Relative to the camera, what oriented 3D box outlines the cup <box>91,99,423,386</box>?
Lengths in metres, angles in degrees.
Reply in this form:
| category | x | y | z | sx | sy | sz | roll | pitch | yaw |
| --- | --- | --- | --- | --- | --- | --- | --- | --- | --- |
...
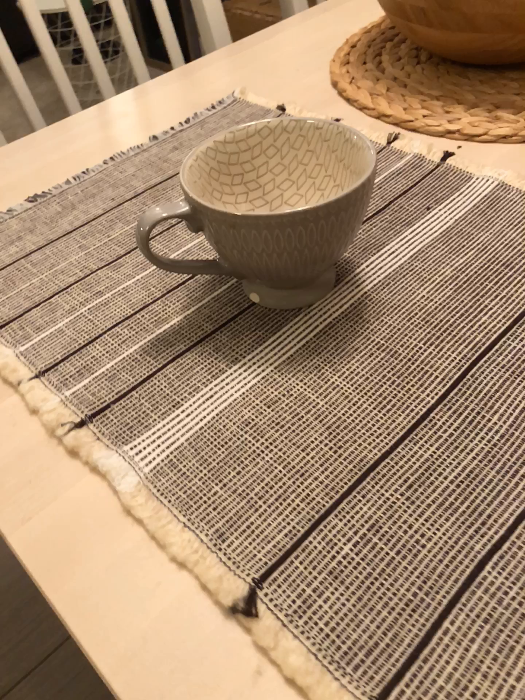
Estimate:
| category | x | y | z | sx | sy | sz | roll | pitch | yaw |
| --- | --- | --- | --- | --- | --- | --- | --- | --- | --- |
| cup | -0.002 | -0.072 | 0.350 | 0.150 | 0.080 | 0.110 | -27 | 48 | -18 |
